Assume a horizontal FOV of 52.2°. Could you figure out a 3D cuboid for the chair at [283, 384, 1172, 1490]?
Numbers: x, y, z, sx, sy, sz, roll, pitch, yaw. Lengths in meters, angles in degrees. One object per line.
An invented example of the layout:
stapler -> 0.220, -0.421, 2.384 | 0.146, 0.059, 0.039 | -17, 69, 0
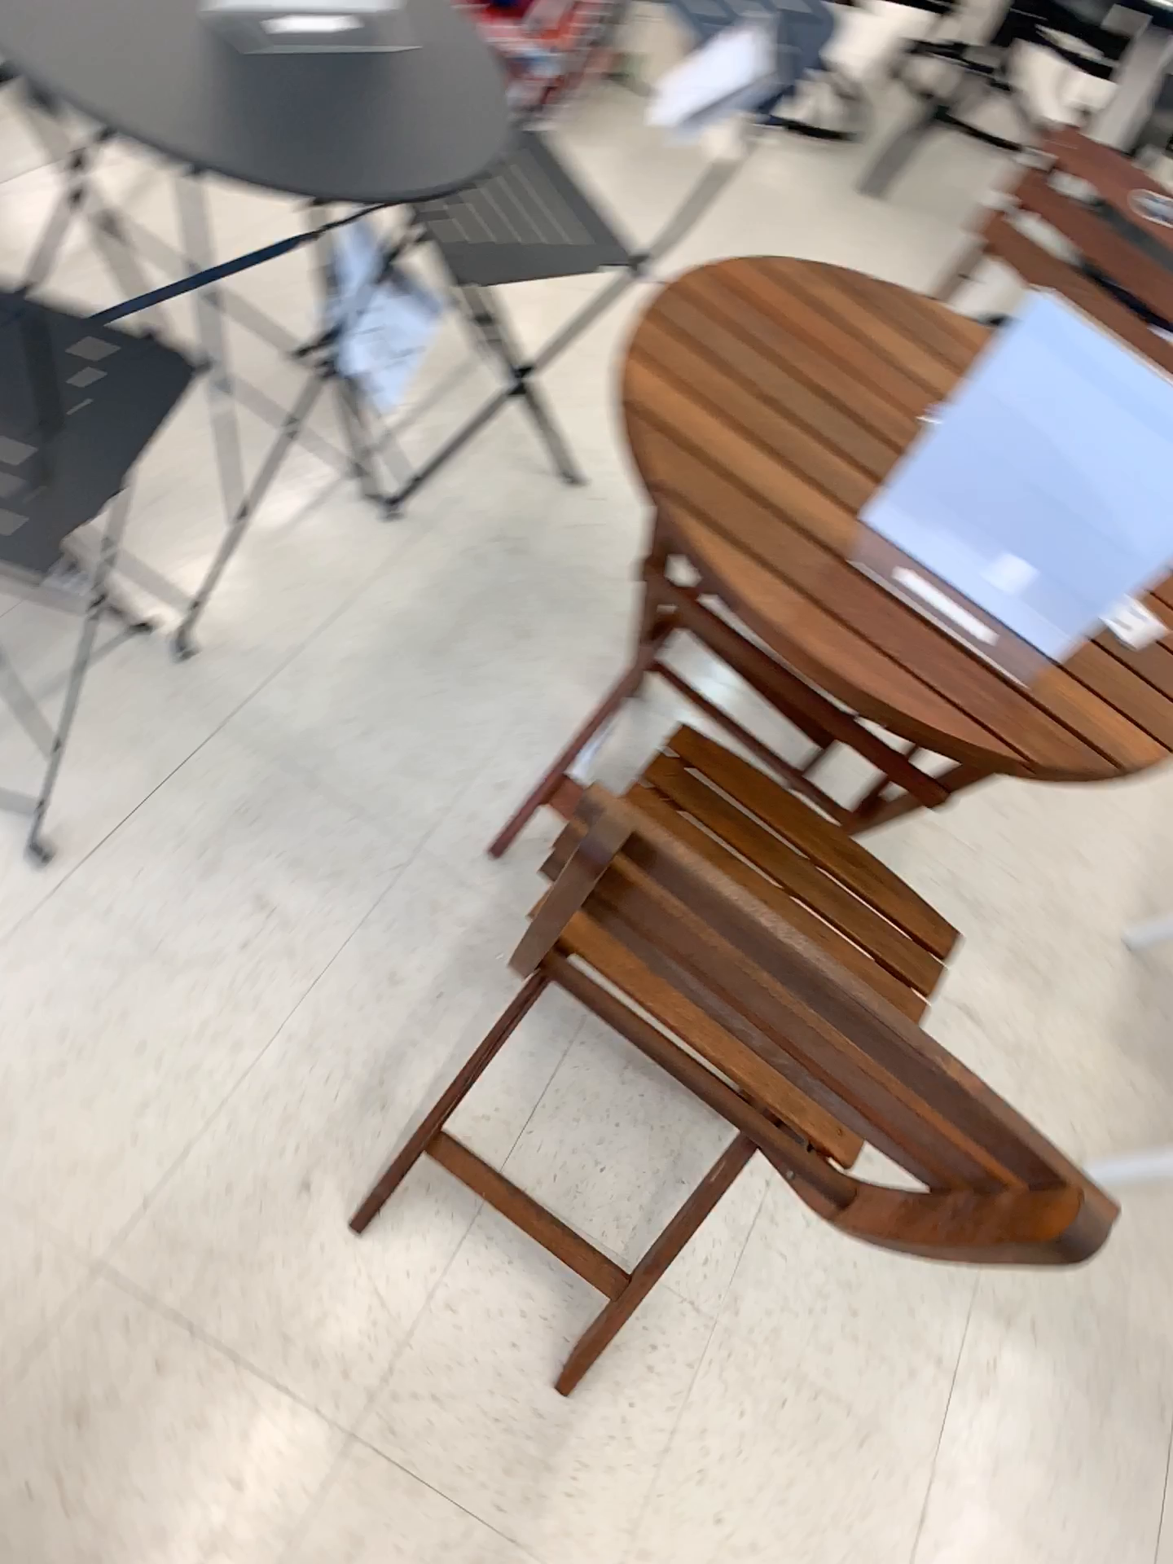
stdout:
chair -> 0.145, 0.189, 1.061 | 0.440, 0.777, 0.552 | 36, 50, 2
